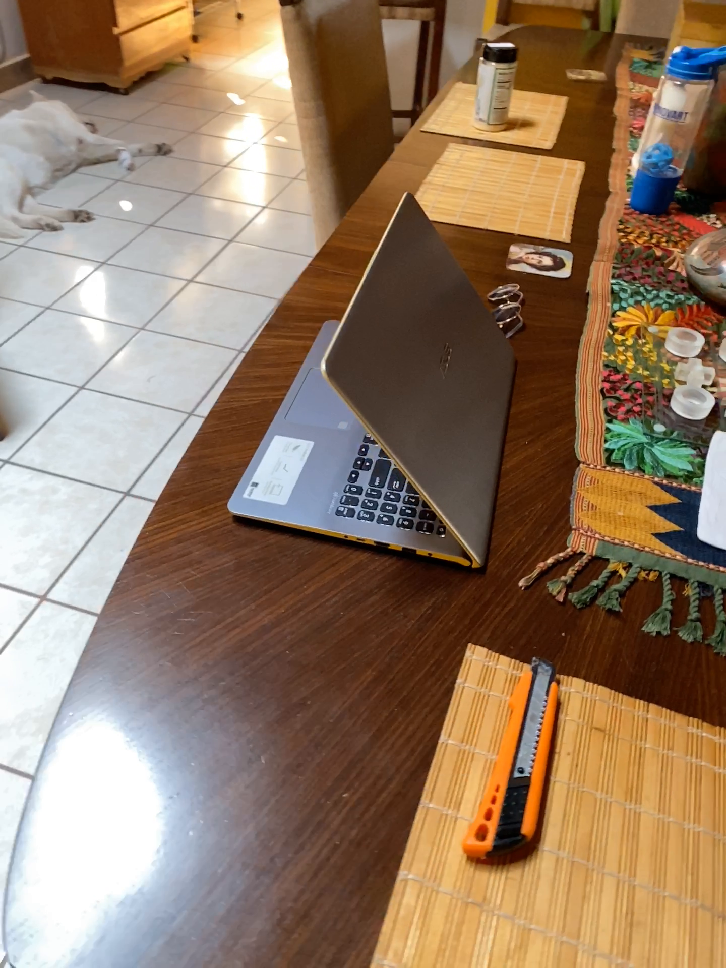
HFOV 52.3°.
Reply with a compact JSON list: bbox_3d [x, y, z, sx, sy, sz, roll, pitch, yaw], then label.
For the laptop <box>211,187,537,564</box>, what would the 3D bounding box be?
[{"bbox_3d":[0.032,-0.139,0.790,0.250,0.181,0.379,11,43,7],"label":"laptop"}]
